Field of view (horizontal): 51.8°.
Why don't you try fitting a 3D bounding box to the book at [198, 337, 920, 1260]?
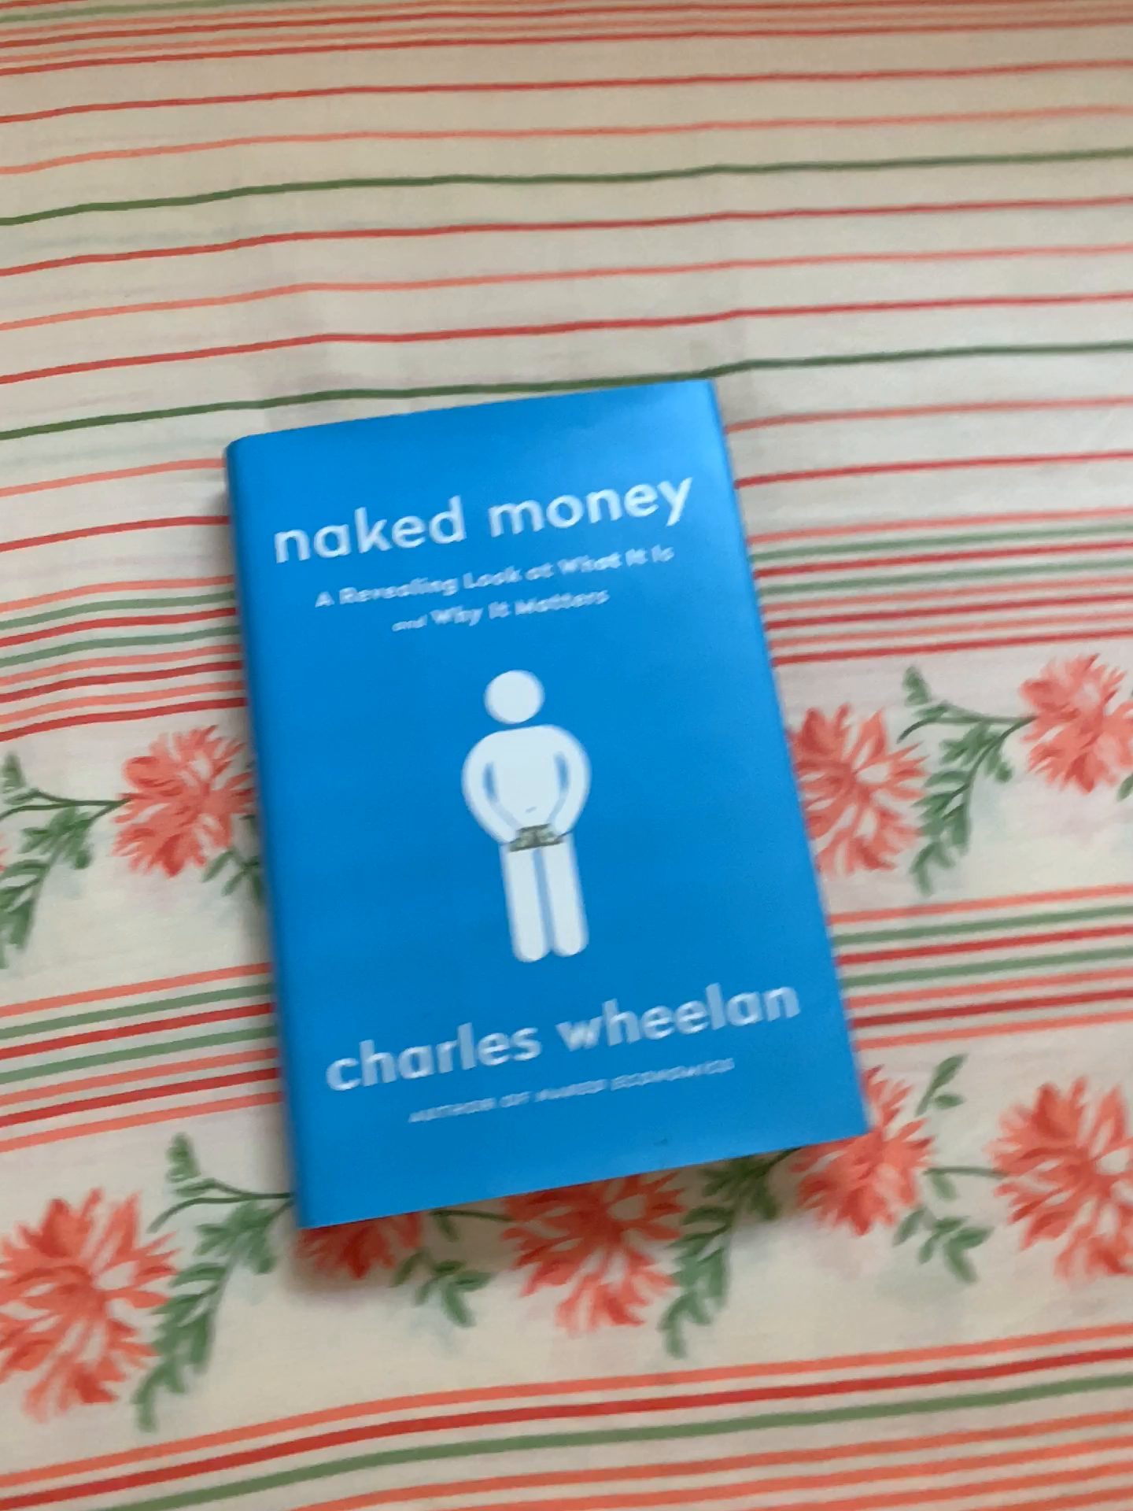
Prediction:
[{"bbox_3d":[-0.011,0.001,0.354,0.170,0.040,0.251,-8,74,-5],"label":"book"}]
